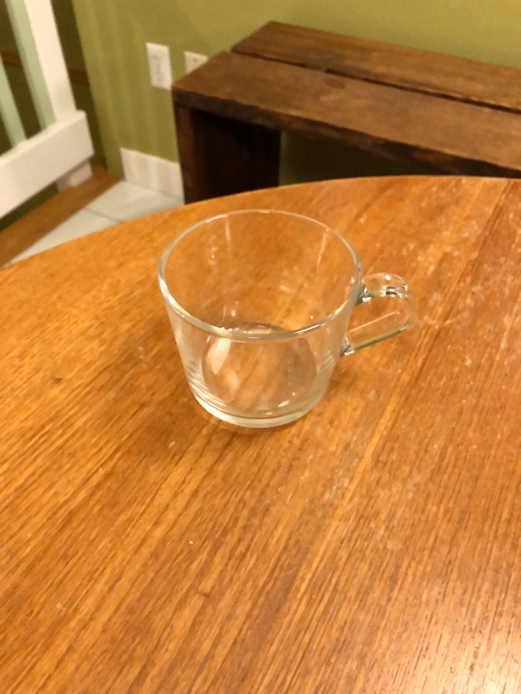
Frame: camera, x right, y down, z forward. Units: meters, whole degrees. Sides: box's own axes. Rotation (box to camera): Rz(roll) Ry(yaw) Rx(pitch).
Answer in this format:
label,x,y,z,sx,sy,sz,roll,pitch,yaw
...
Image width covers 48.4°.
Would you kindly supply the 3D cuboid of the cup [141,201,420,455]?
label,x,y,z,sx,sy,sz,roll,pitch,yaw
cup,0.010,-0.011,0.316,0.120,0.089,0.101,2,46,2
